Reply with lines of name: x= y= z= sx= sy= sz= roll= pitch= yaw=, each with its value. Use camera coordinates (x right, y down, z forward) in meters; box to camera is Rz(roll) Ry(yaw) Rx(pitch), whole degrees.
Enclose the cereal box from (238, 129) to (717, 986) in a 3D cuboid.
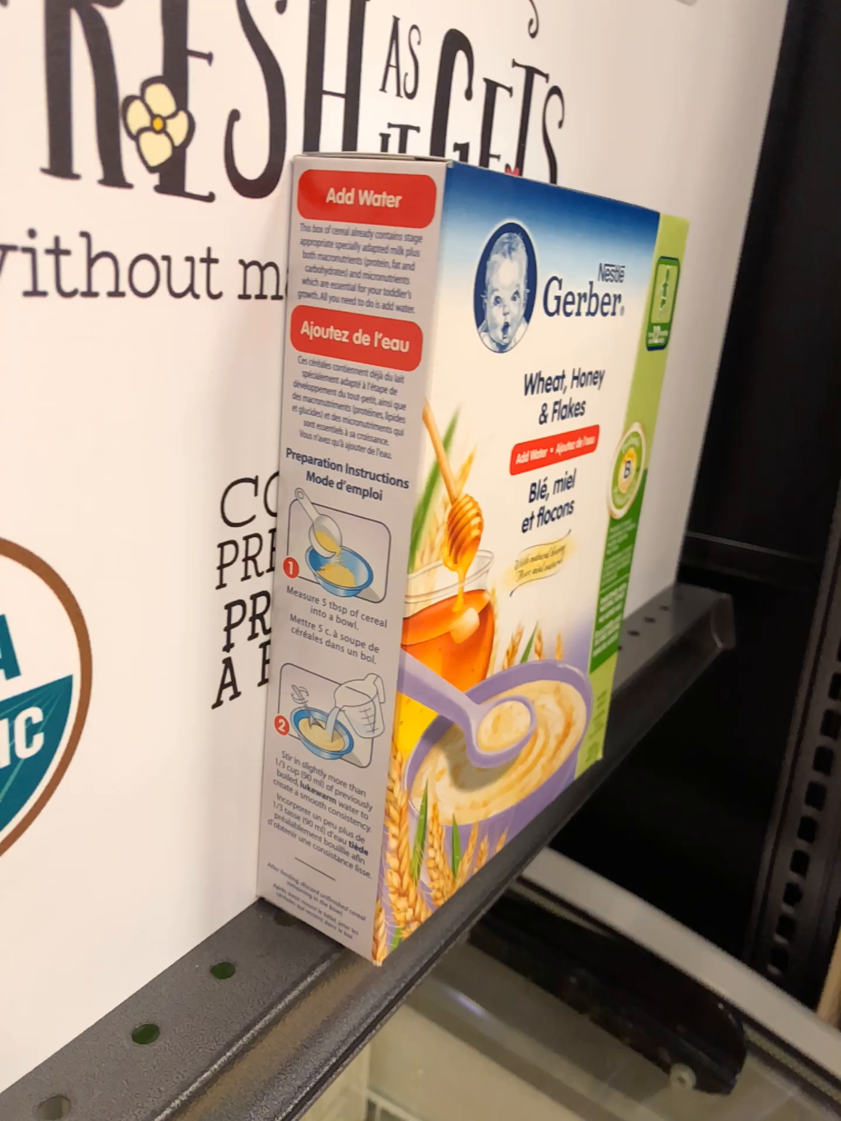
cereal box: x=0.021 y=-0.008 z=0.282 sx=0.050 sy=0.199 sz=0.150 roll=17 pitch=21 yaw=30
